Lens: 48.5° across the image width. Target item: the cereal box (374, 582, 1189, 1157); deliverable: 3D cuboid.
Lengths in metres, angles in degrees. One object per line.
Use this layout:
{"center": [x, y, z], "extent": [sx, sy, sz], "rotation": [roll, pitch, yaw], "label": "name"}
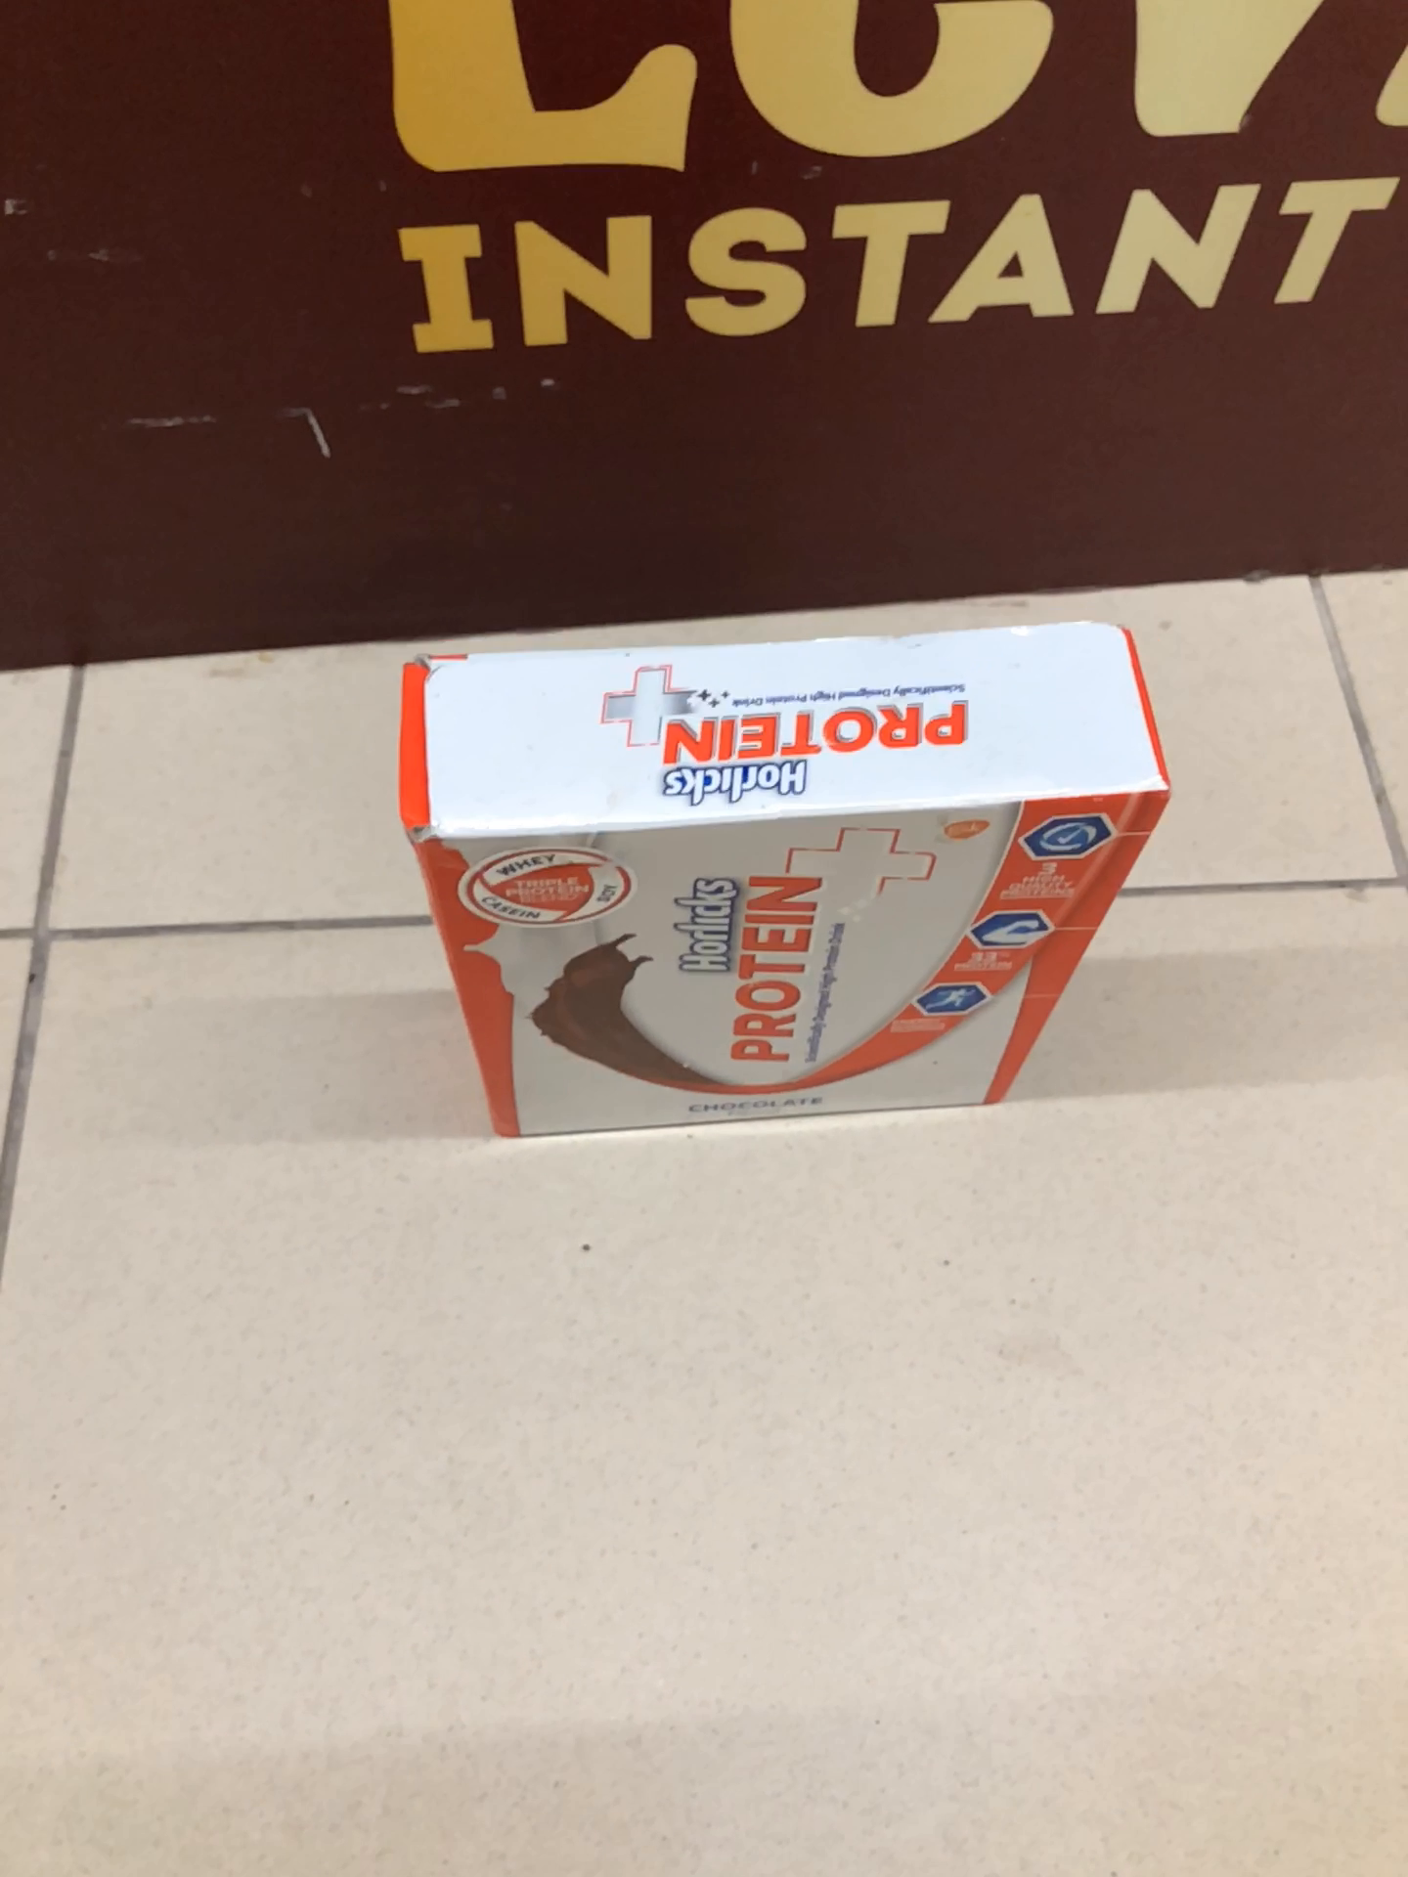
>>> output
{"center": [0.010, -0.006, 0.345], "extent": [0.140, 0.149, 0.050], "rotation": [-4, 63, -4], "label": "cereal box"}
